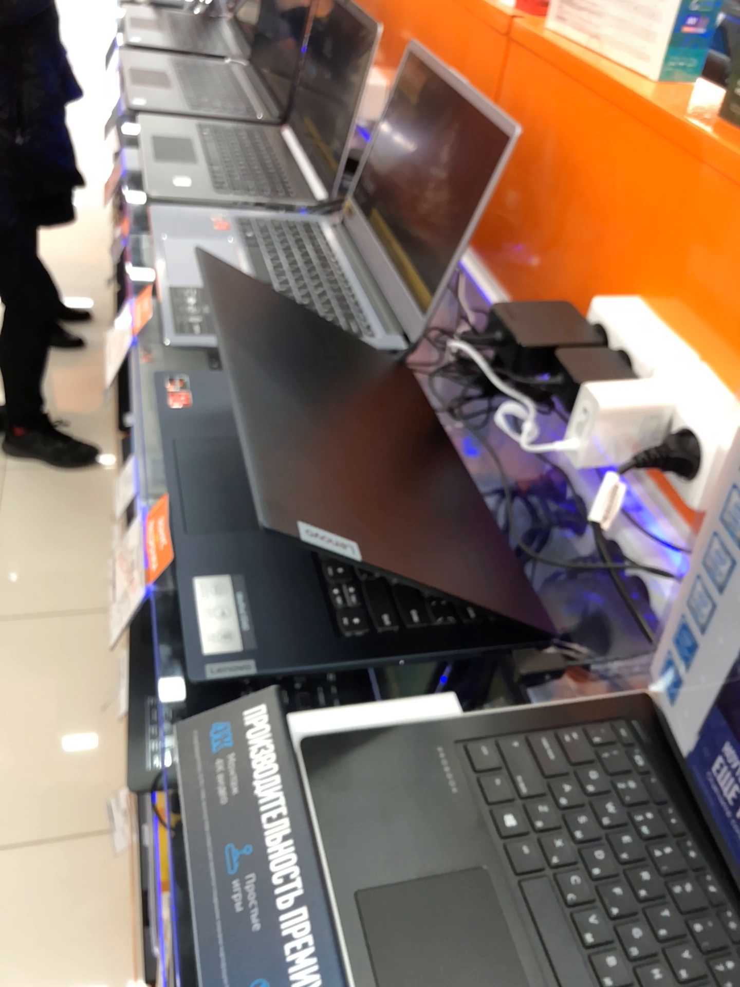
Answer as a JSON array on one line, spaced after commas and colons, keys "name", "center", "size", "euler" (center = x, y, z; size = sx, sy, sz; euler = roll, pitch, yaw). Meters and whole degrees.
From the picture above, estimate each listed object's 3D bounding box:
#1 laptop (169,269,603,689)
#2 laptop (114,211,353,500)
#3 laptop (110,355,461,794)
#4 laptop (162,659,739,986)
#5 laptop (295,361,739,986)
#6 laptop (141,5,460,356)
[{"name": "laptop", "center": [-0.020, -0.033, 0.547], "size": [0.211, 0.106, 0.300], "euler": [-1, 38, -15]}, {"name": "laptop", "center": [-0.197, -0.187, 1.081], "size": [0.235, 0.207, 0.349], "euler": [-3, 41, -17]}, {"name": "laptop", "center": [-0.105, 0.063, 0.783], "size": [0.246, 0.230, 0.344], "euler": [1, 38, -13]}, {"name": "laptop", "center": [-0.007, 0.307, 0.494], "size": [0.225, 0.215, 0.354], "euler": [0, 38, -14]}, {"name": "laptop", "center": [0.129, 0.141, 0.255], "size": [0.228, 0.213, 0.307], "euler": [0, 38, -16]}, {"name": "laptop", "center": [-0.094, -0.307, 0.796], "size": [0.224, 0.203, 0.317], "euler": [-2, 39, -16]}]
